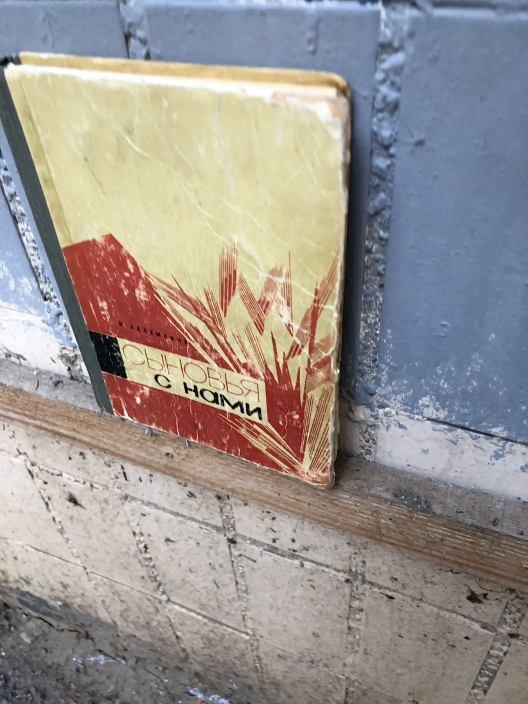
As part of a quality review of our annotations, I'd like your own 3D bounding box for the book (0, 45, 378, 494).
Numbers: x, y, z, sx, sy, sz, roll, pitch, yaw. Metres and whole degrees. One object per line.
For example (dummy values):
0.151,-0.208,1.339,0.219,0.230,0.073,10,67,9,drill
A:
-0.031,-0.025,0.223,0.135,0.156,0.020,14,41,21,book
